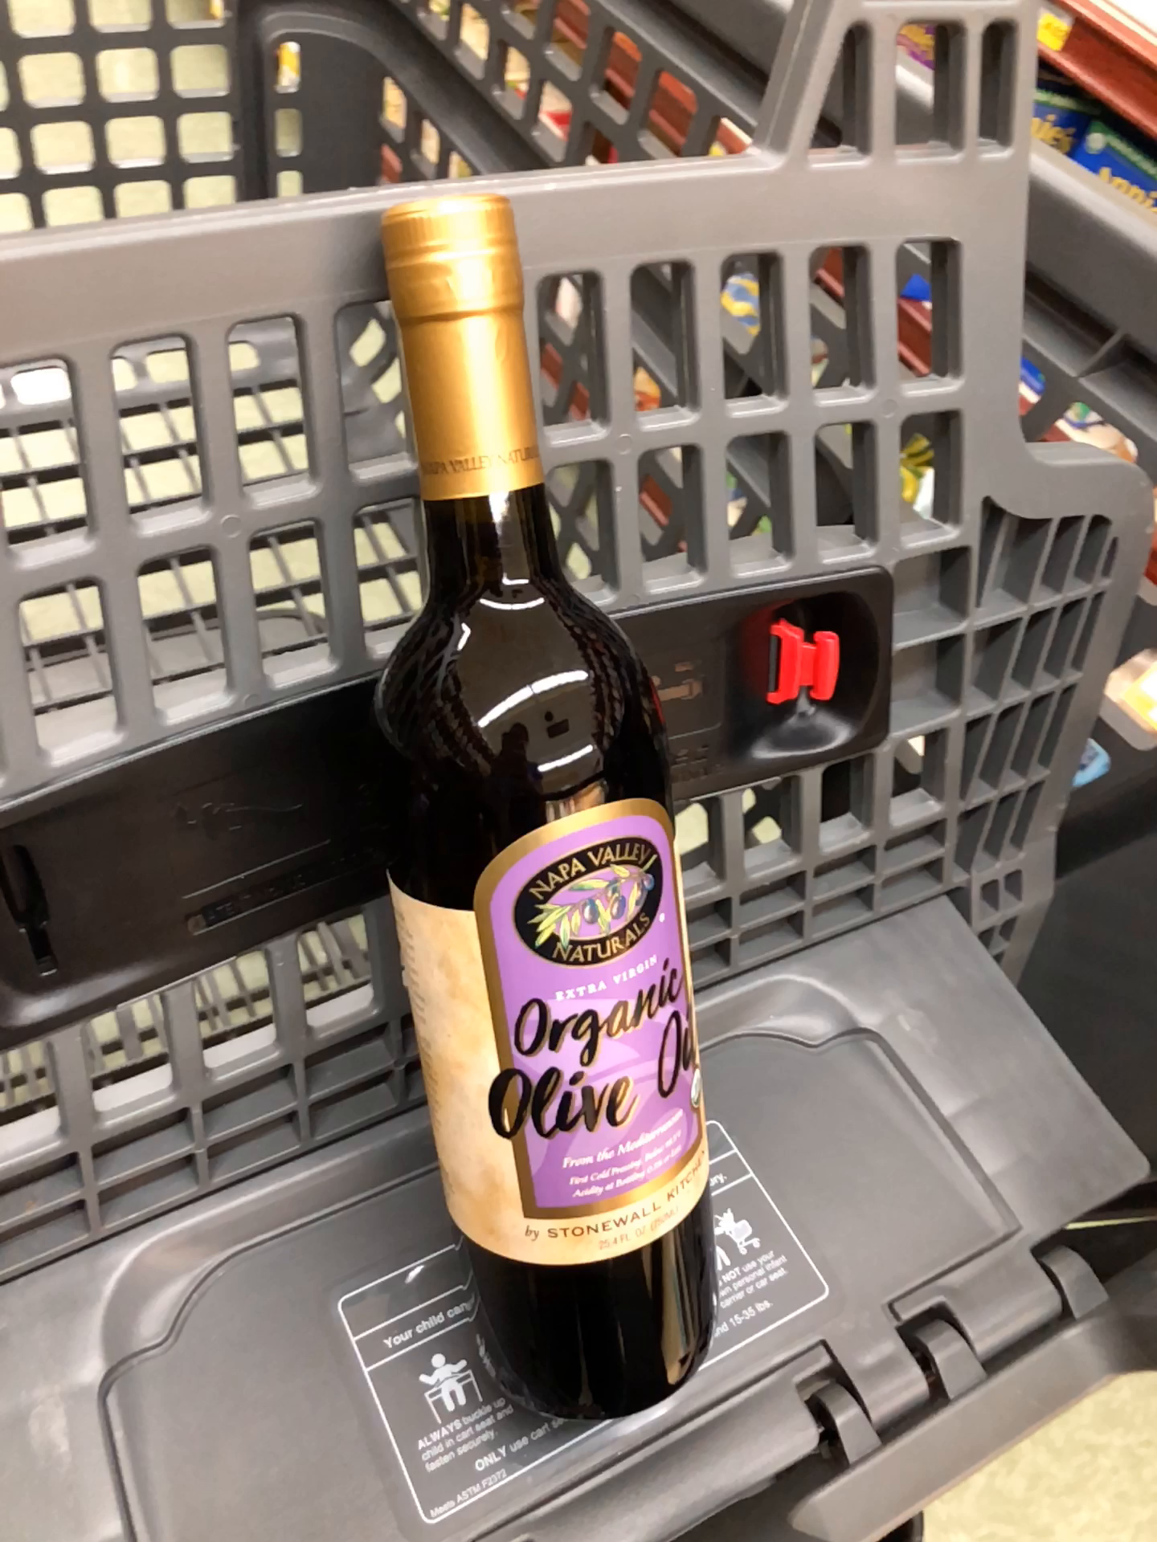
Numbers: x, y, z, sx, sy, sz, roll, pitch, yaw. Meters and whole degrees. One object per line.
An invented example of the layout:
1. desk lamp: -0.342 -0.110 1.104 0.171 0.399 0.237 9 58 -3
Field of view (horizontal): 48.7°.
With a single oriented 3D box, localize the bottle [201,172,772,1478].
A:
1. bottle: -0.016 0.020 0.325 0.080 0.300 0.080 -6 20 2
